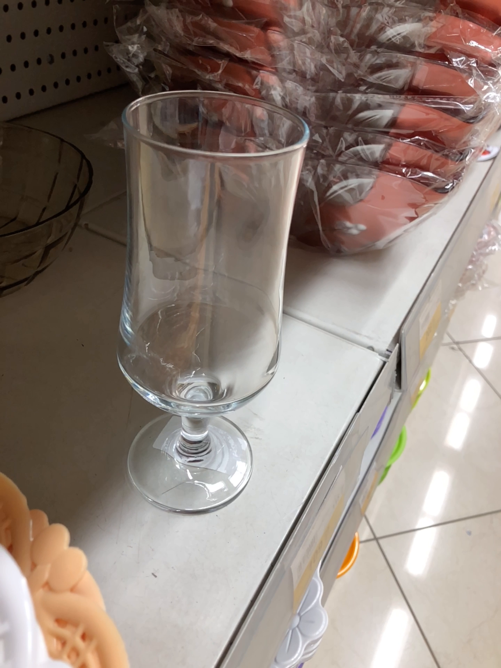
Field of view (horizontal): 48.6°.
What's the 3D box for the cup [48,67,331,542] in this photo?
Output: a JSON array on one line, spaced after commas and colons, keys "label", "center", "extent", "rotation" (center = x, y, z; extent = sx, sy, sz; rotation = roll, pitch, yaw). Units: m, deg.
[{"label": "cup", "center": [-0.024, -0.002, 0.253], "extent": [0.075, 0.194, 0.079], "rotation": [4, 39, -4]}]
